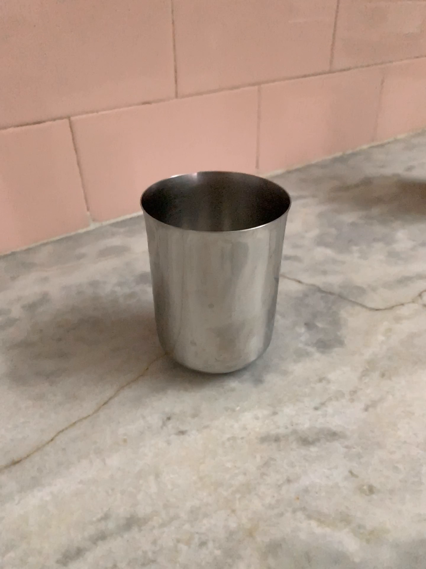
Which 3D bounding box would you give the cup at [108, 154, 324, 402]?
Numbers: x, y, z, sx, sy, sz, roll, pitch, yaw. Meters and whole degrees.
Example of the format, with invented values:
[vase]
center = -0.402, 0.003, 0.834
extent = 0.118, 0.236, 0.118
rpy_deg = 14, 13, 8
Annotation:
[cup]
center = -0.002, -0.008, 0.238
extent = 0.080, 0.090, 0.080
rpy_deg = -1, 34, 1
